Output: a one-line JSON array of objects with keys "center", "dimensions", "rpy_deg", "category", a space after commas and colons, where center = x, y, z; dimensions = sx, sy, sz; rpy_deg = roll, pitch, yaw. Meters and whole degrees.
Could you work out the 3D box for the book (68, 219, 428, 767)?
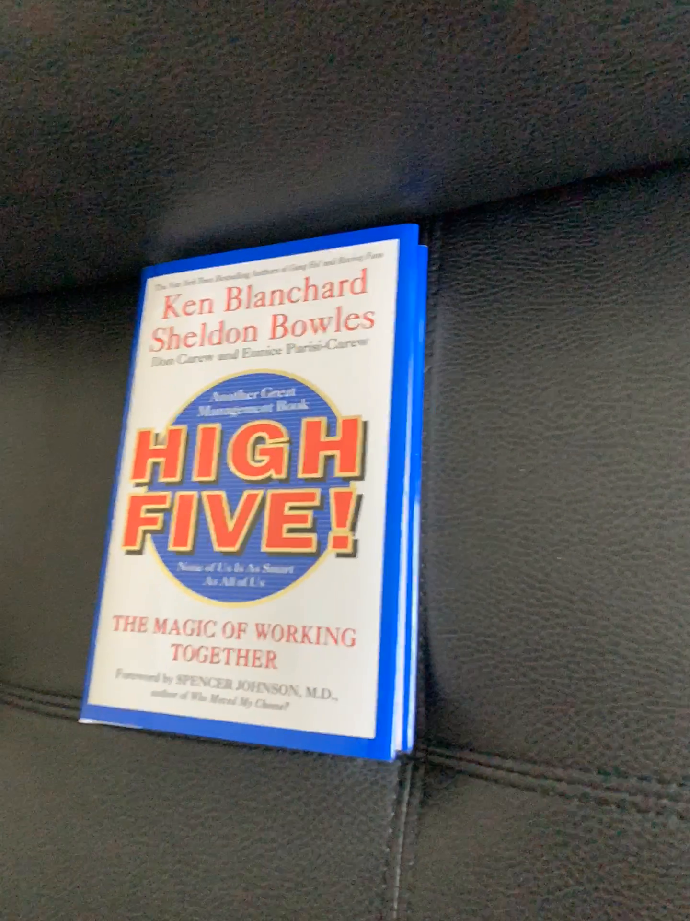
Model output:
[{"center": [-0.041, 0.008, 0.318], "dimensions": [0.150, 0.023, 0.220], "rpy_deg": [-2, 76, 22], "category": "book"}]
